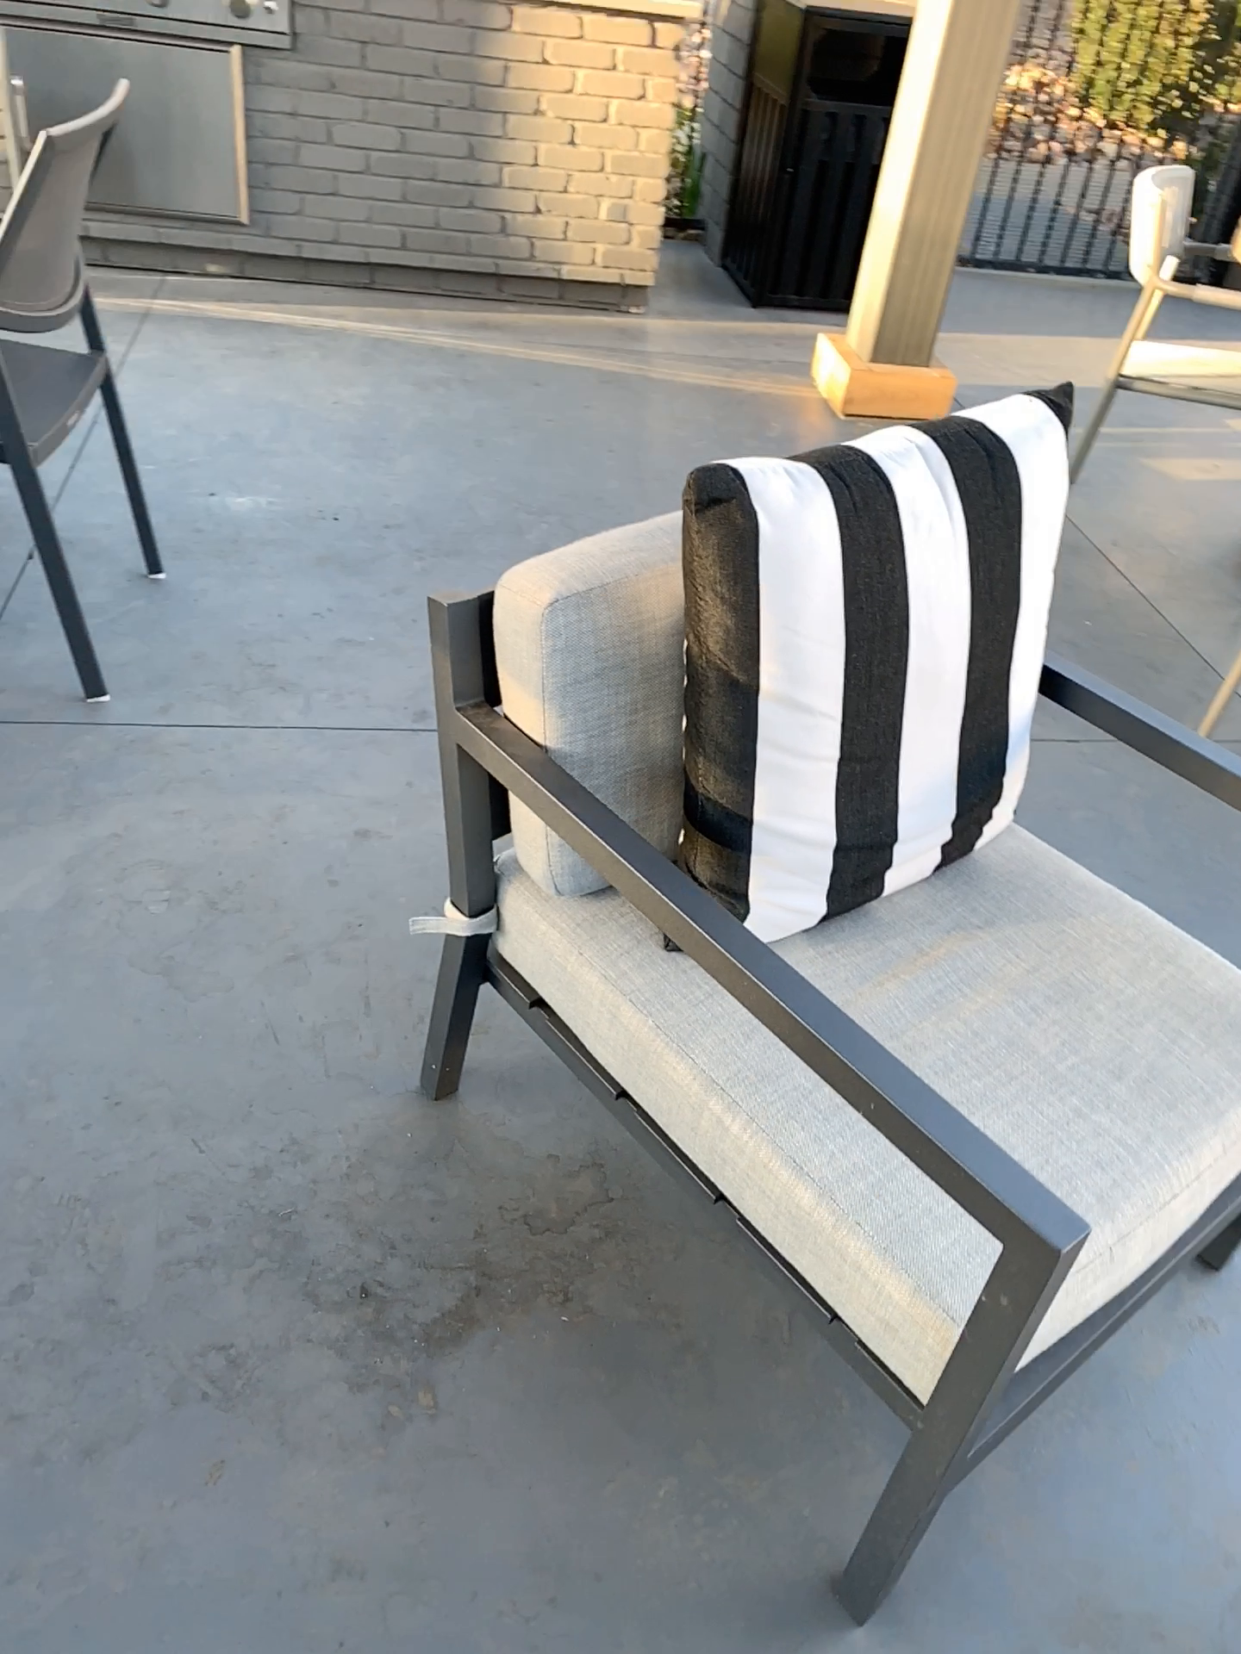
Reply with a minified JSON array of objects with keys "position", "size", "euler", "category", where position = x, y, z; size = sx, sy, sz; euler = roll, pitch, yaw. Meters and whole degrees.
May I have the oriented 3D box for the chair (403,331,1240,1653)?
[{"position":[0.307,0.072,1.240],"size":[0.732,0.796,0.752],"euler":[-22,46,-34],"category":"chair"}]
